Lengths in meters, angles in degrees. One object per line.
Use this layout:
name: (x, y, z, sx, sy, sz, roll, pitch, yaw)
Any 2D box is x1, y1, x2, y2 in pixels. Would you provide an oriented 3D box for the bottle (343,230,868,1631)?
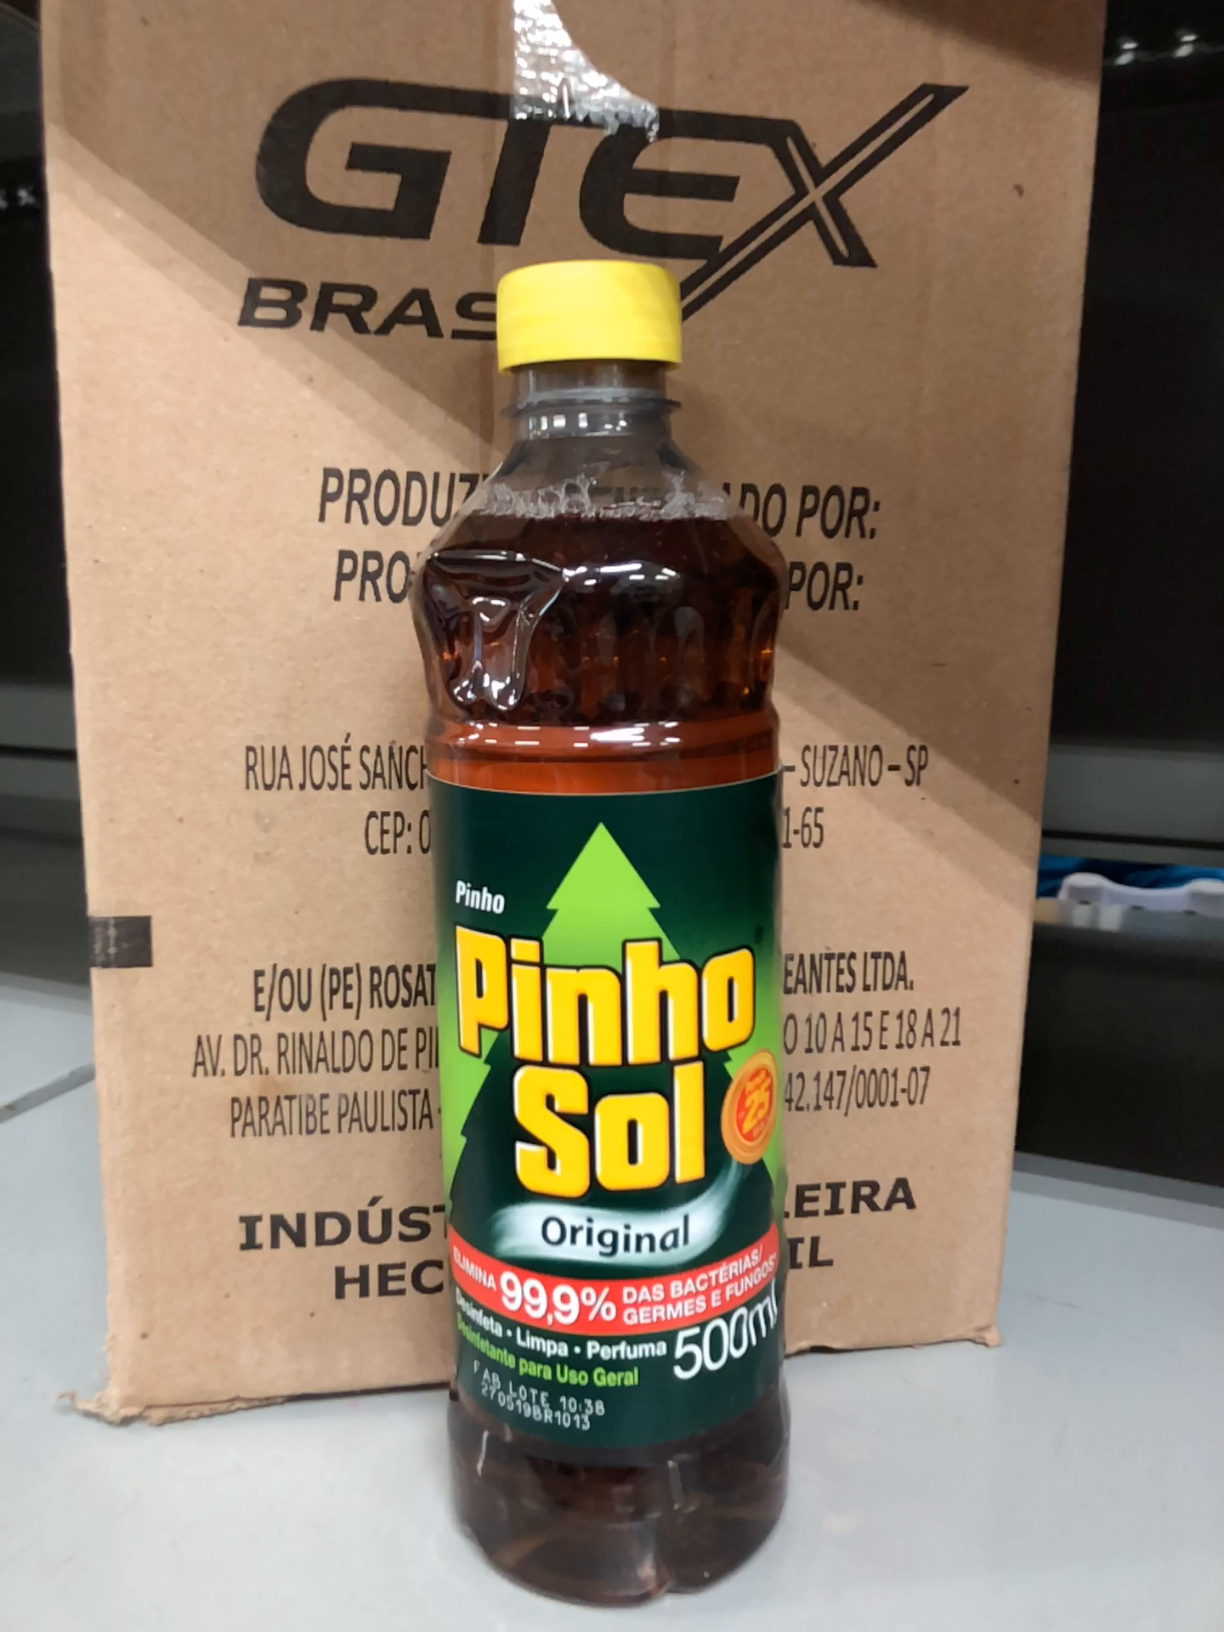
bottle: (-0.003, 0.024, 0.233, 0.070, 0.219, 0.060, -1, 12, -5)
